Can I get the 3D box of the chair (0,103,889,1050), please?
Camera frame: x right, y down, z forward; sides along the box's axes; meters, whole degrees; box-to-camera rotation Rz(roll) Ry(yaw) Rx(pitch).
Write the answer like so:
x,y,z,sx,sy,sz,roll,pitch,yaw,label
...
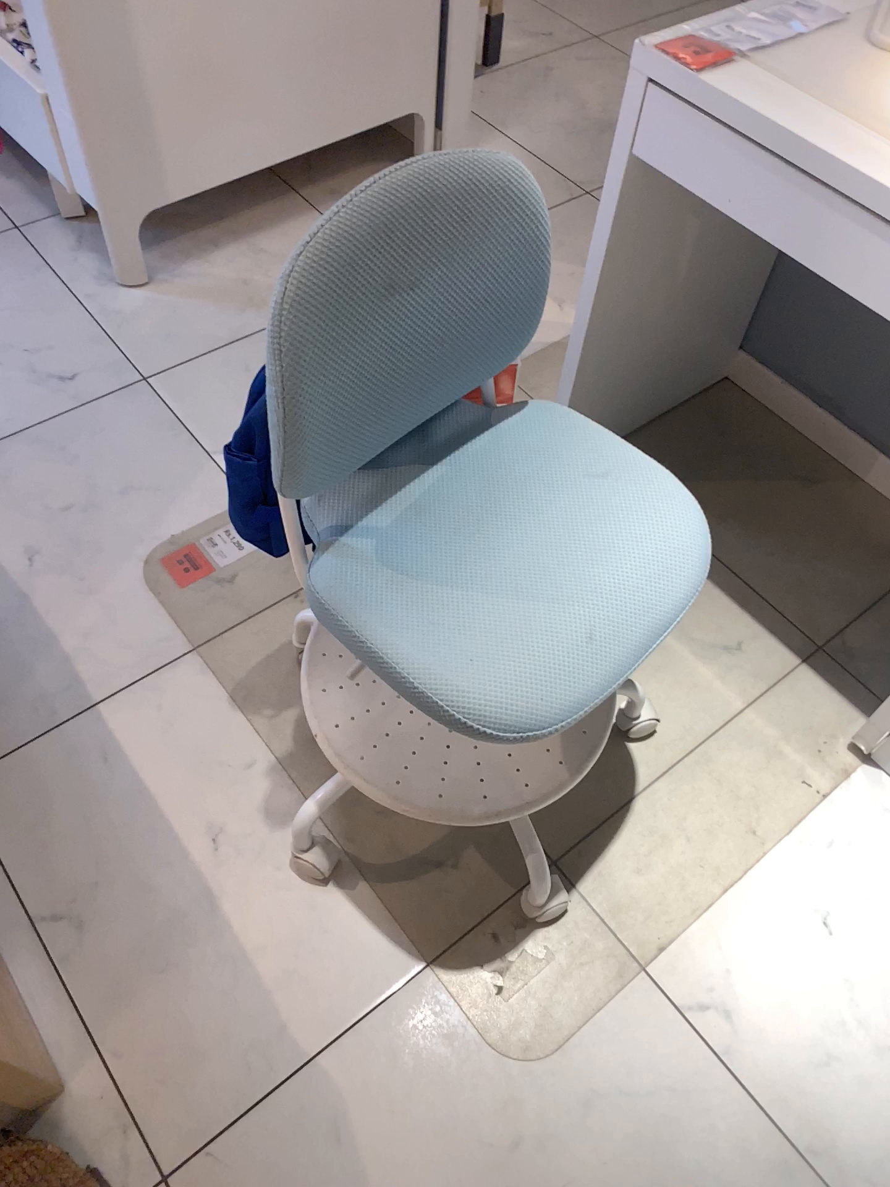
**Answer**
x,y,z,sx,sy,sz,roll,pitch,yaw,label
0.021,0.003,1.071,0.621,0.718,0.601,39,61,21,chair
